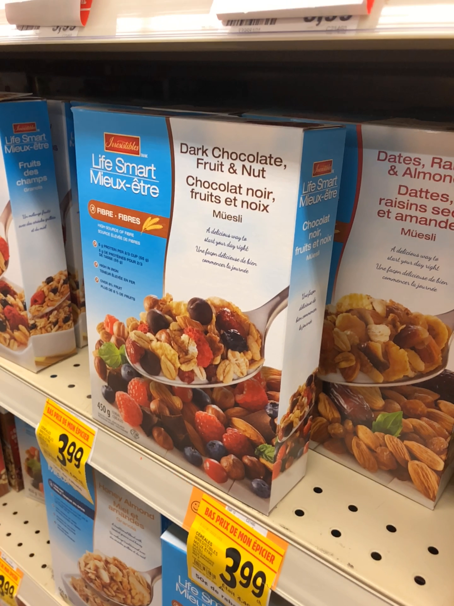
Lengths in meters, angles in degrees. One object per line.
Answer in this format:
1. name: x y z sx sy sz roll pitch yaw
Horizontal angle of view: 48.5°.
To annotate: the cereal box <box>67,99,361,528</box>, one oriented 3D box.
1. cereal box: -0.019 -0.001 0.329 0.170 0.238 0.050 18 27 32
